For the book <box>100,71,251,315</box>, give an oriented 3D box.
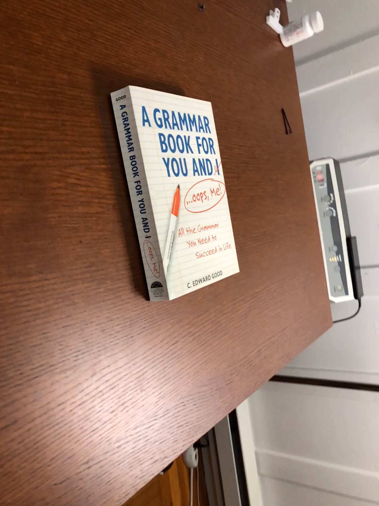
[{"bbox_3d":[-0.005,-0.068,0.488,0.171,0.040,0.240,-15,96,-53],"label":"book"}]
